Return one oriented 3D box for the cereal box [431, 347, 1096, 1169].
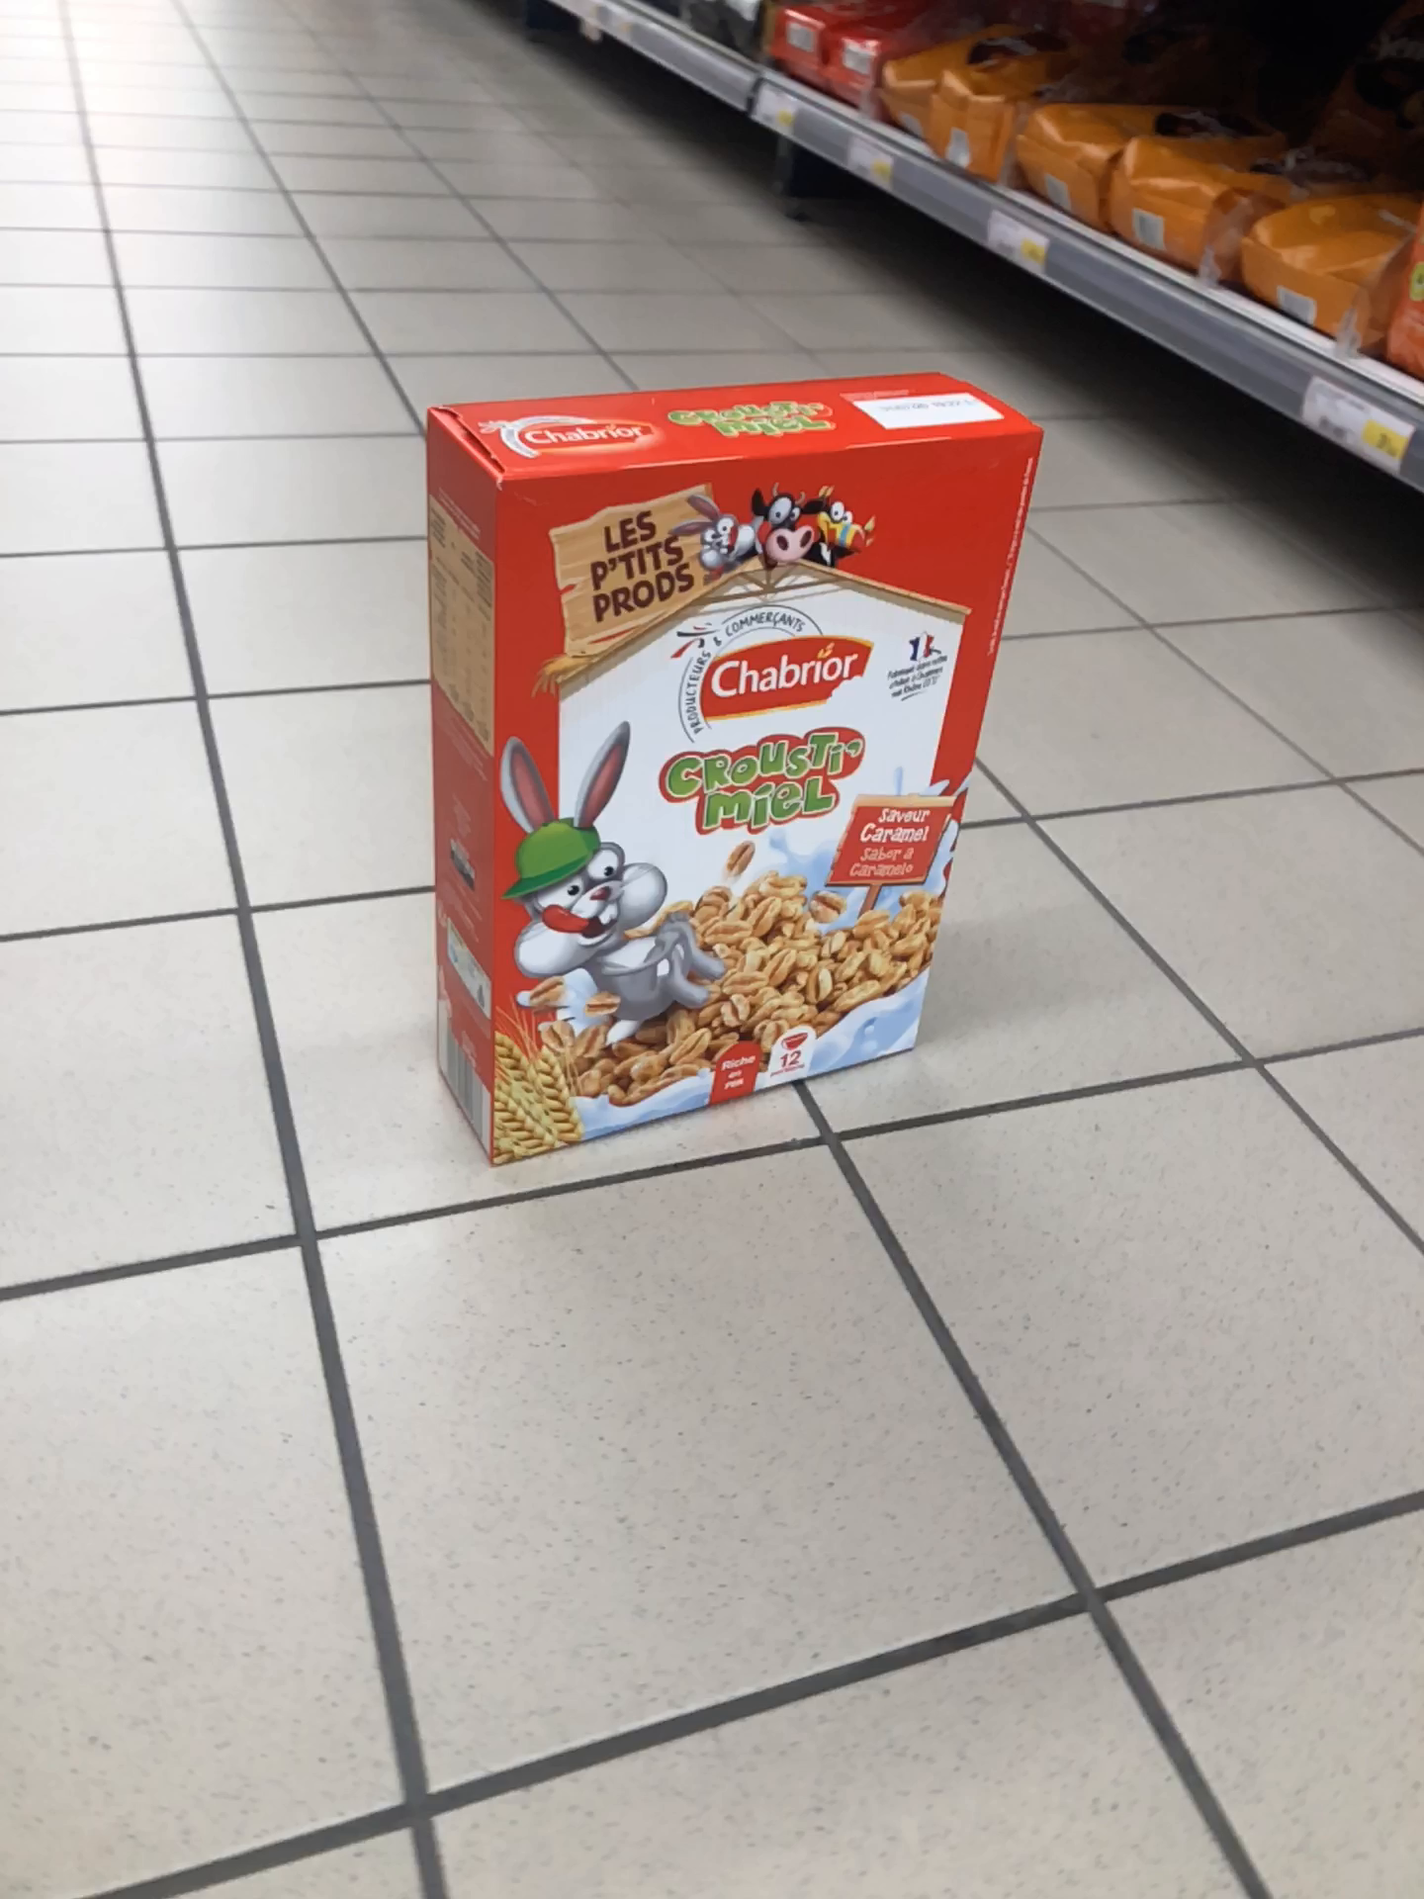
[{"bbox_3d":[0.007,-0.066,0.568,0.201,0.268,0.070,-12,39,-24],"label":"cereal box"}]
